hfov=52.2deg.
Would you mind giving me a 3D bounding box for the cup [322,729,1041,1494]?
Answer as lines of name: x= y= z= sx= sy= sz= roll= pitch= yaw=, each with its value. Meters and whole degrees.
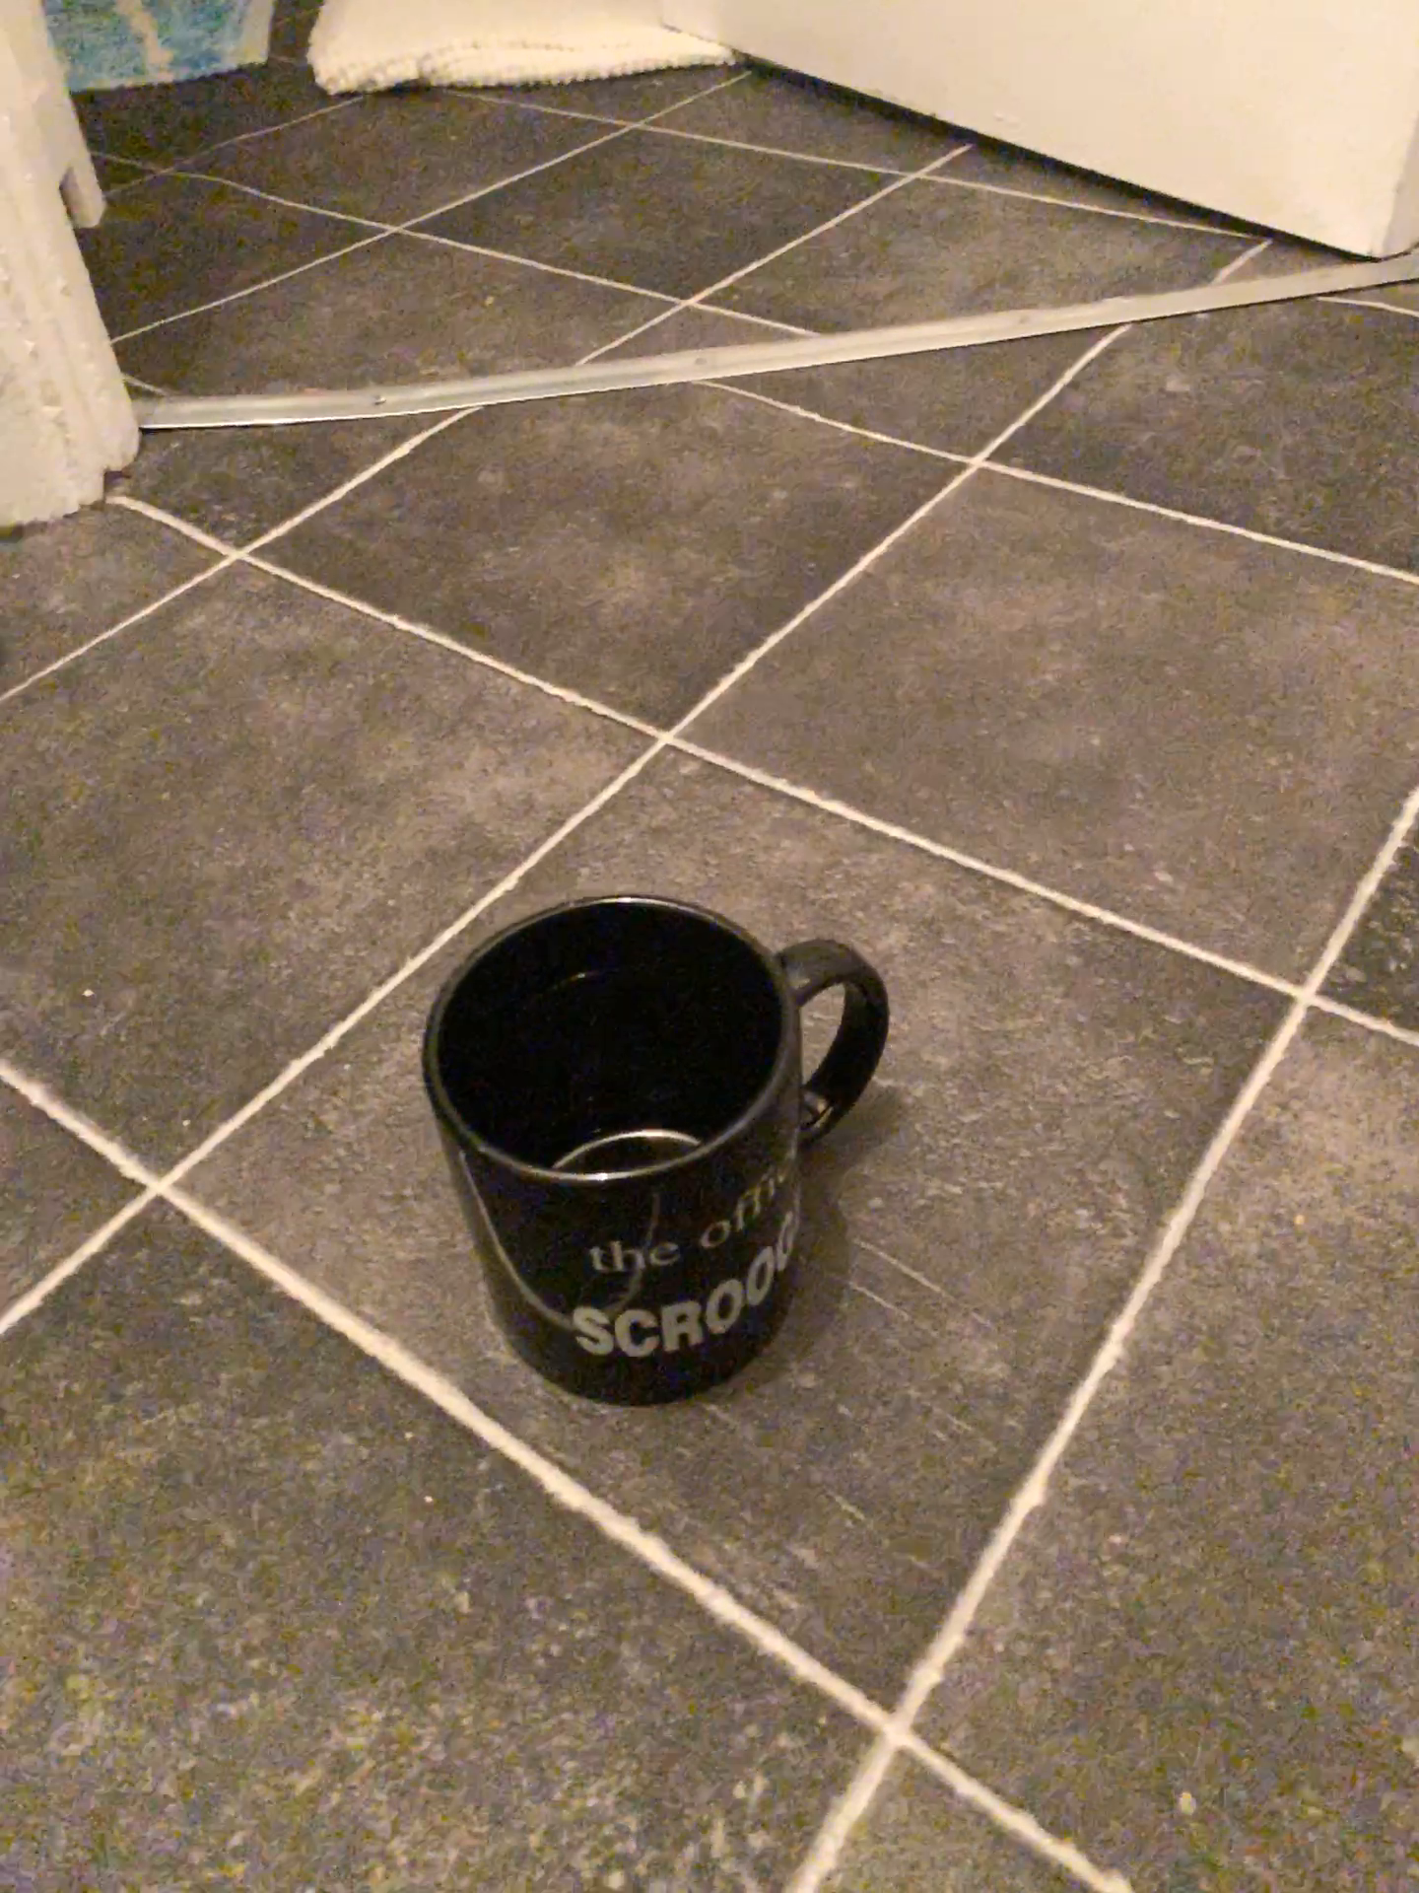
cup: x=-0.003 y=0.035 z=0.351 sx=0.130 sy=0.099 sz=0.091 roll=-34 pitch=52 yaw=-27
